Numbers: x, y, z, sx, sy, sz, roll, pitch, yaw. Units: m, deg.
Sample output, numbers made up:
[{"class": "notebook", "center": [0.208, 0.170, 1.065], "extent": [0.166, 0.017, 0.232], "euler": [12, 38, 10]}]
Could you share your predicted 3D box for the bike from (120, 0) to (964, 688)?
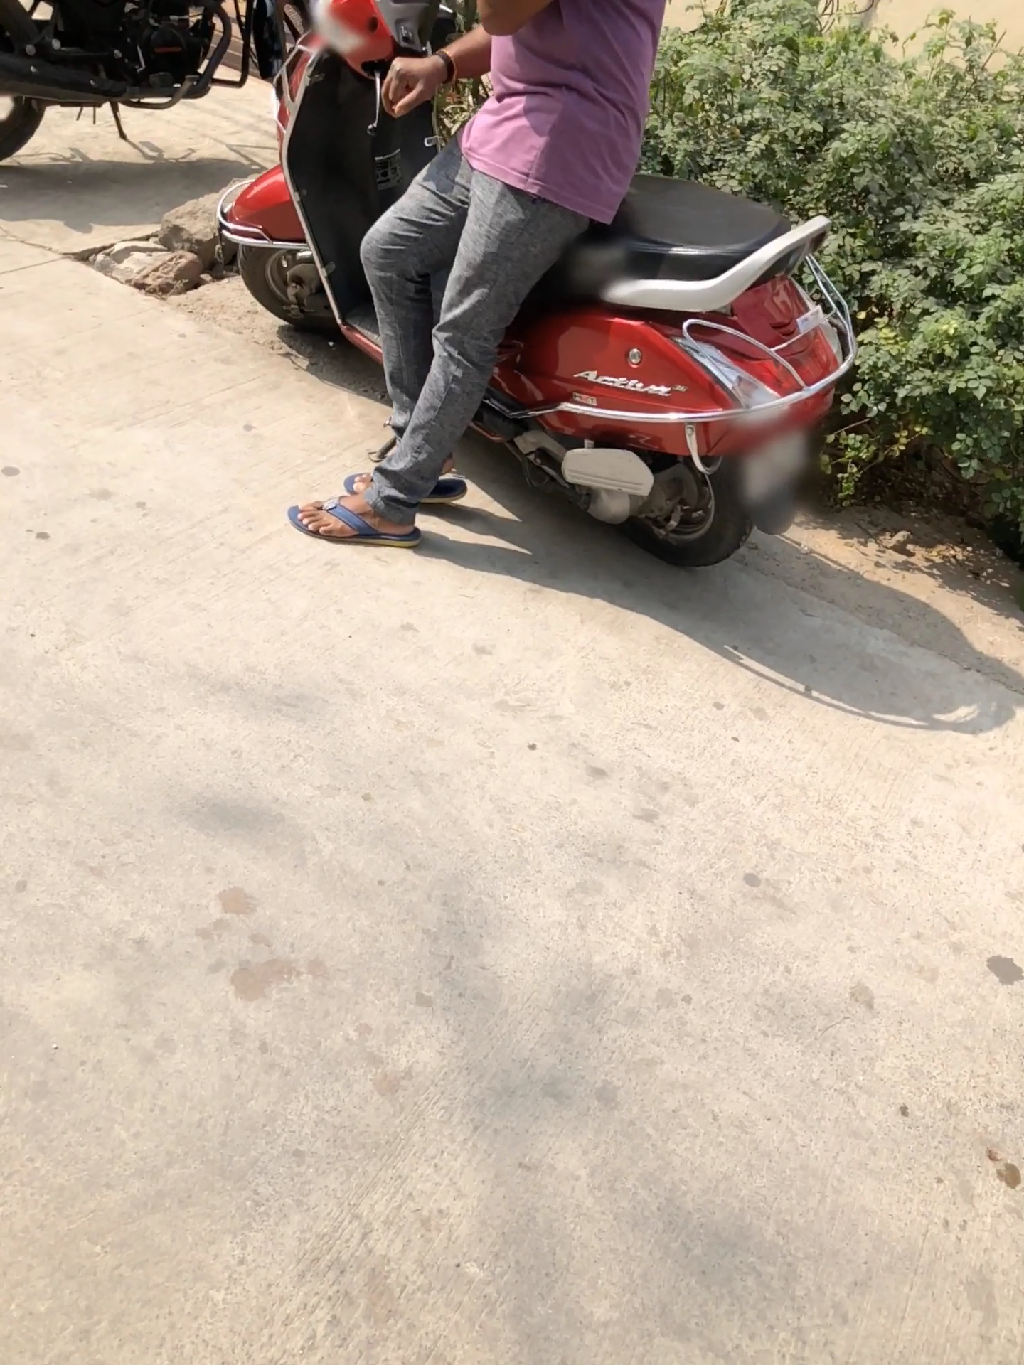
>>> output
[{"class": "bike", "center": [-0.103, -0.956, 2.422], "extent": [1.583, 1.157, 0.625], "euler": [34, 41, 26]}]
